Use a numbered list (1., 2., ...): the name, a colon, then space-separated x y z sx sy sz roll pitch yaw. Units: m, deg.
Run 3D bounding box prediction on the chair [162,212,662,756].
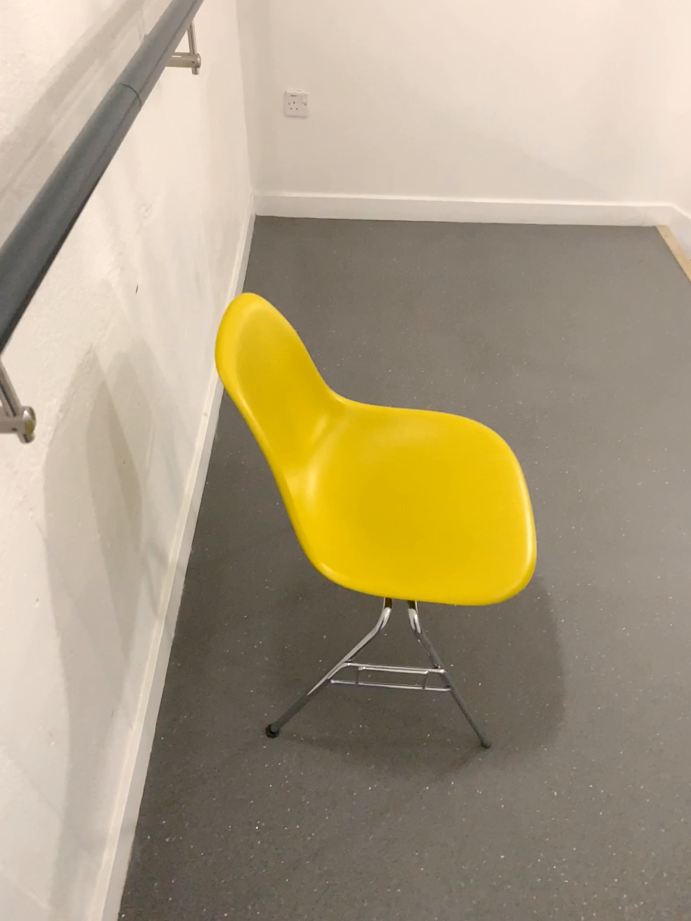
1. chair: 0.079 0.057 1.264 0.560 0.733 0.626 3 46 1
